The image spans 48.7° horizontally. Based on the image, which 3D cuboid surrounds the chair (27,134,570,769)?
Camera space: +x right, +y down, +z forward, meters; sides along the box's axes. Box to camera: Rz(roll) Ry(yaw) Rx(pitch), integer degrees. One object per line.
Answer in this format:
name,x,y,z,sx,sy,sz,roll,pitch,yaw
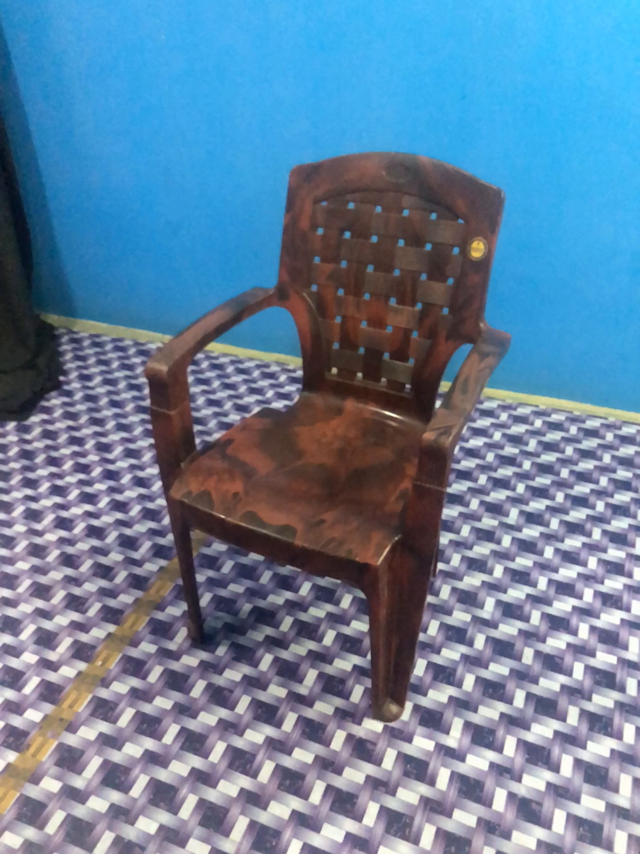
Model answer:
chair,0.020,0.008,1.283,0.590,0.845,0.593,15,39,22
